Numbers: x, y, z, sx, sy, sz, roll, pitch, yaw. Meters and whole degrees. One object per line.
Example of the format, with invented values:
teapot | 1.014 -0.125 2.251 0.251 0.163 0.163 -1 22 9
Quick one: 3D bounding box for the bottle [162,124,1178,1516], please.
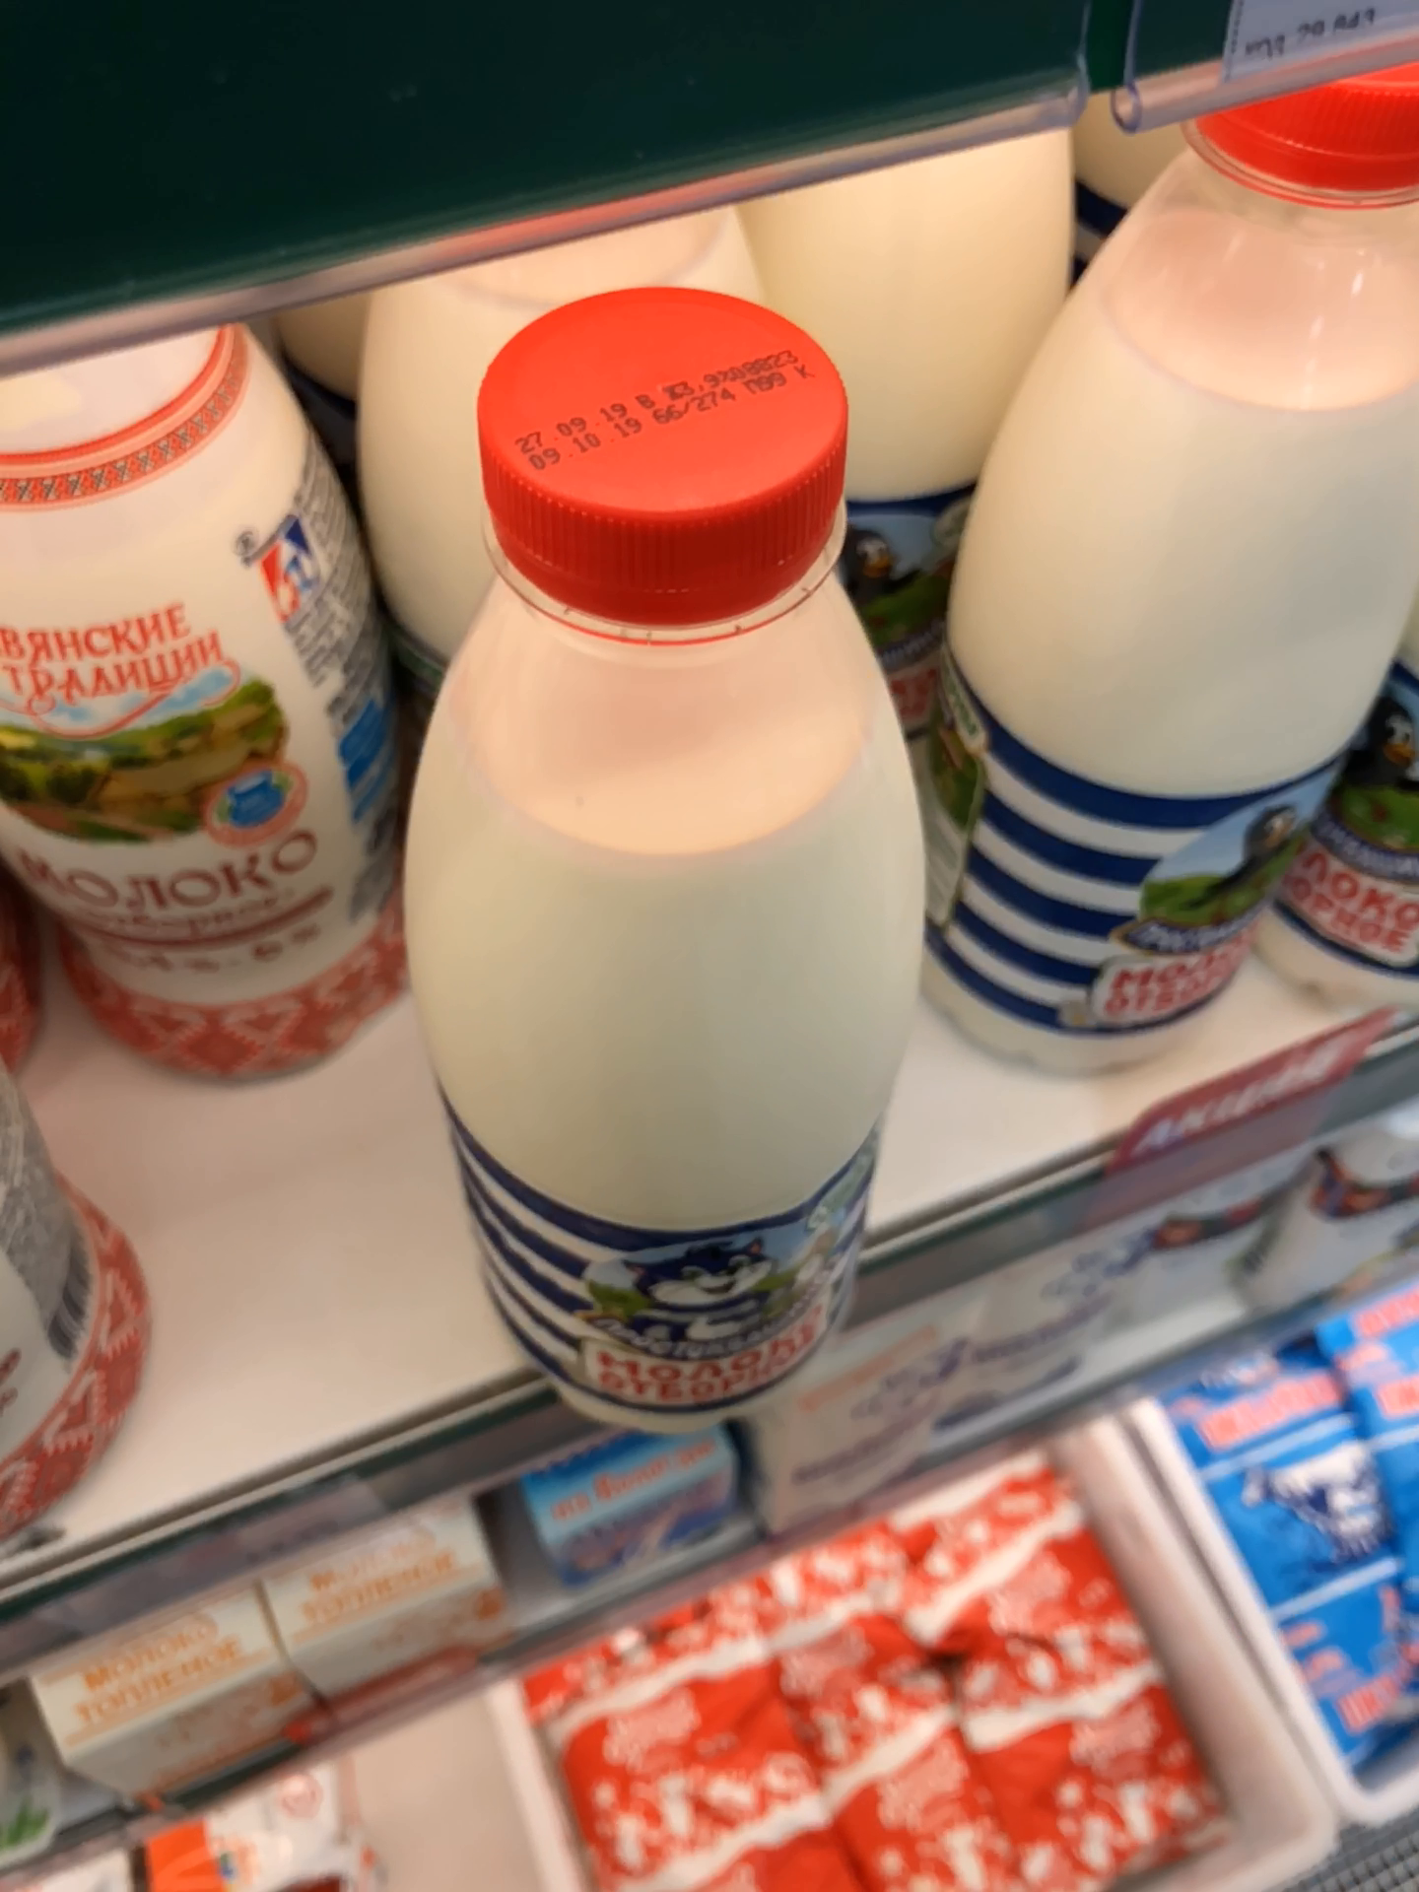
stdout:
bottle | -0.009 0.007 0.257 0.090 0.228 0.080 -11 55 -7
